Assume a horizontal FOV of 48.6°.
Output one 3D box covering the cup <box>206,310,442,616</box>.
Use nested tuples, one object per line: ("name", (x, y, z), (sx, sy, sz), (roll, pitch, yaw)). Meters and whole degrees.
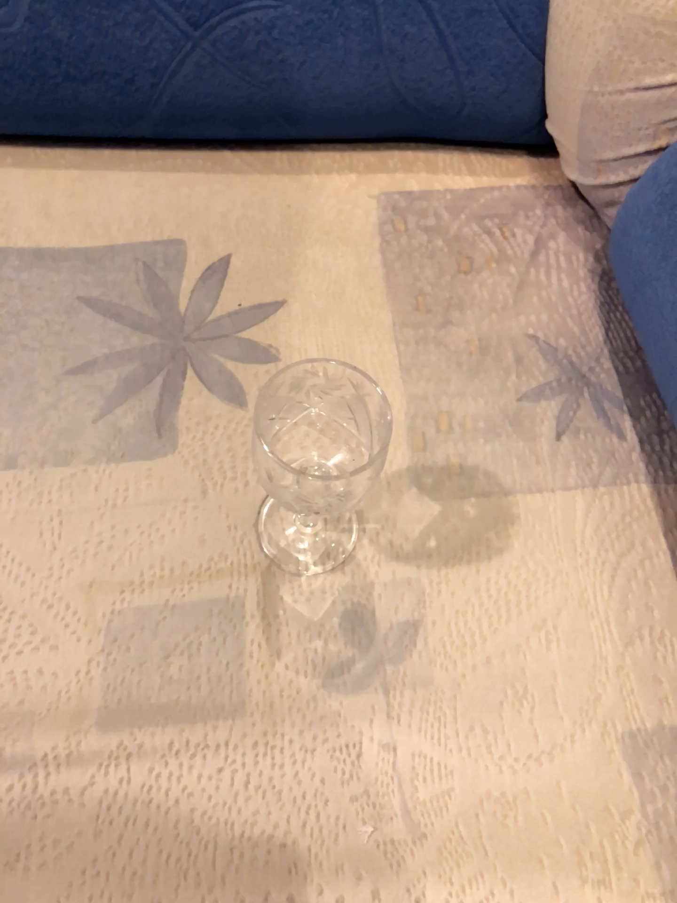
("cup", (-0.009, 0.012, 0.313), (0.060, 0.119, 0.060), (2, 62, -4))
